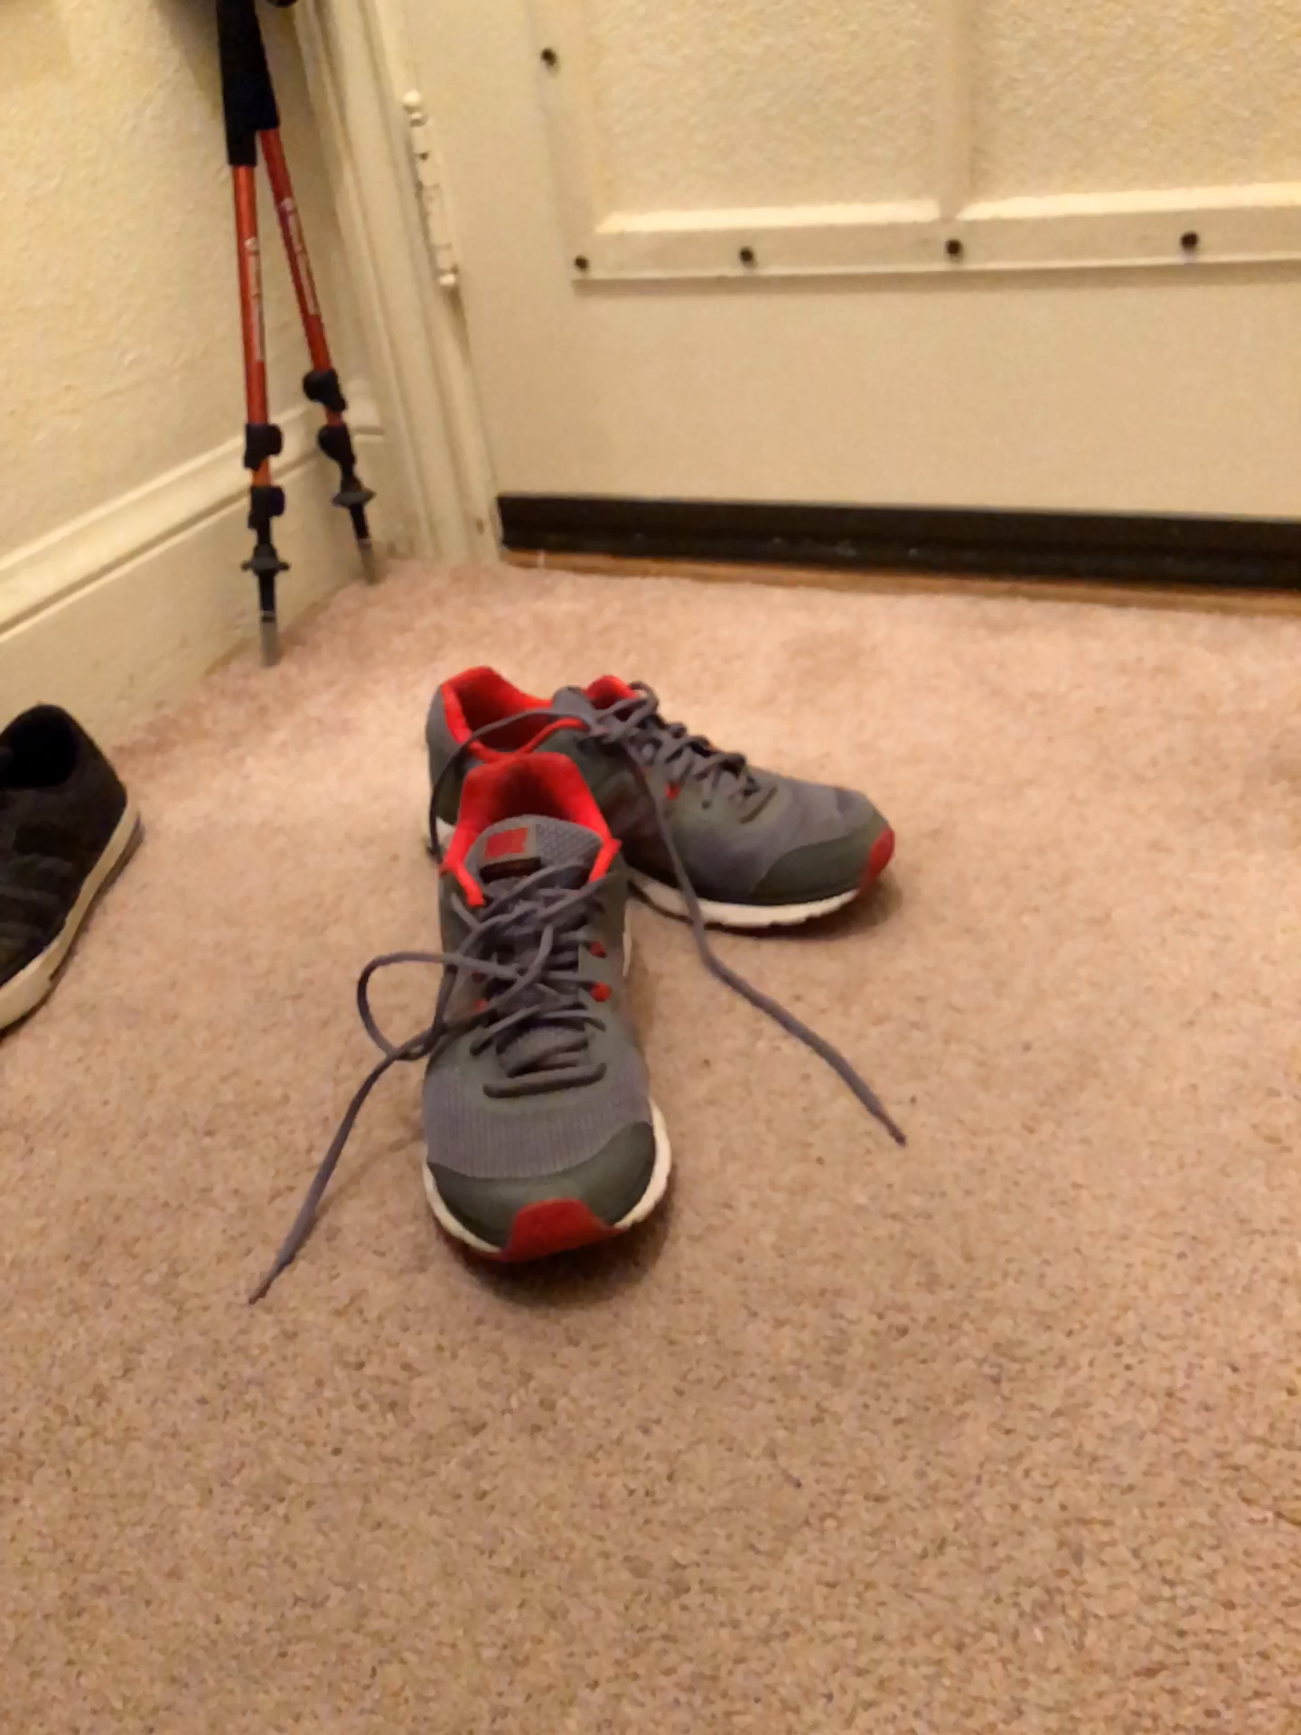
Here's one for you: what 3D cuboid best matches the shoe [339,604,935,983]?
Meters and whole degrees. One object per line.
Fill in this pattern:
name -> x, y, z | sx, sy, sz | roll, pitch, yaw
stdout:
shoe -> -0.007, -0.051, 0.790 | 0.298, 0.119, 0.114 | 12, 38, 28

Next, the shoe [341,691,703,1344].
shoe -> -0.046, 0.047, 0.652 | 0.113, 0.119, 0.299 | -7, 33, 3
